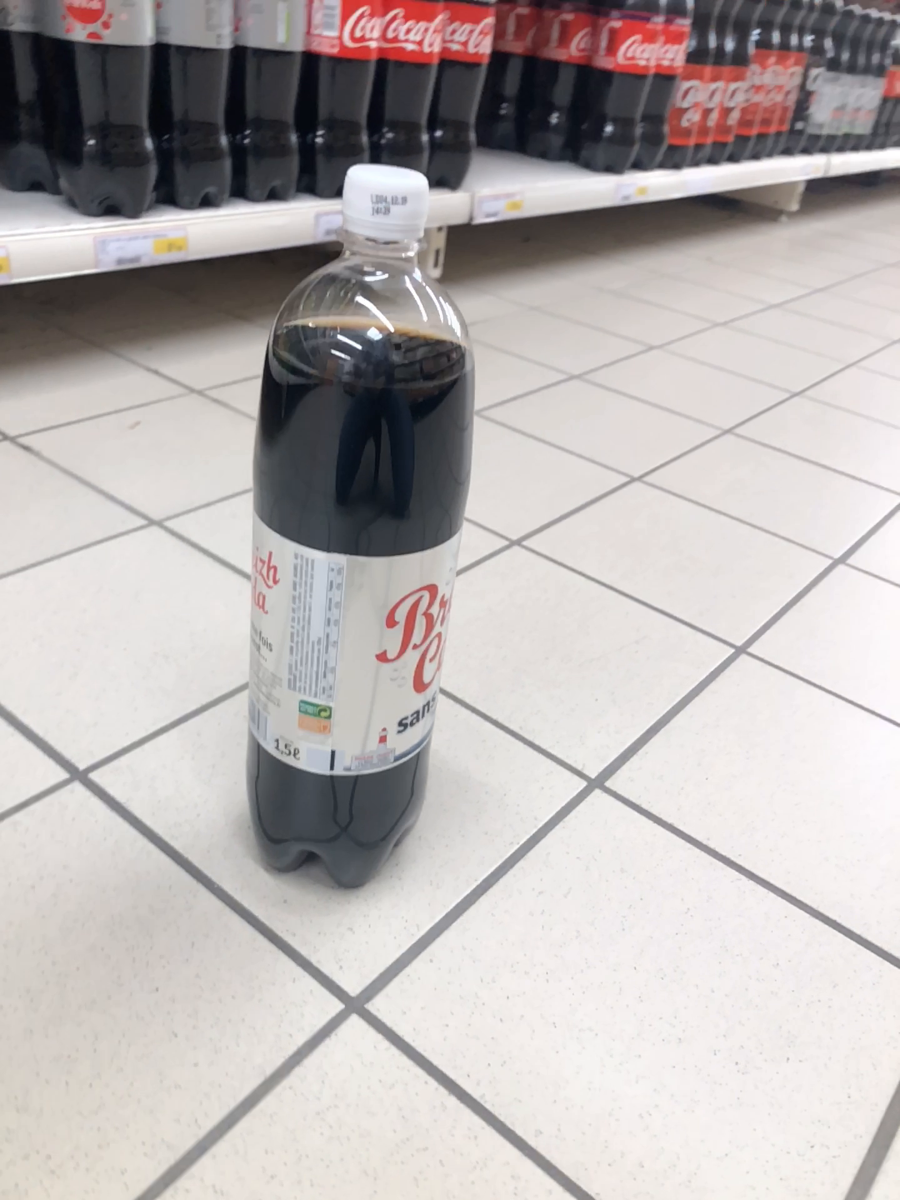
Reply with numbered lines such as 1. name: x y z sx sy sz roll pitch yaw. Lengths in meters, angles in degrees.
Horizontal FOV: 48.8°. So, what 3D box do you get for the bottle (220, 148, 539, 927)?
1. bottle: -0.038 -0.015 0.437 0.090 0.318 0.101 12 30 6
